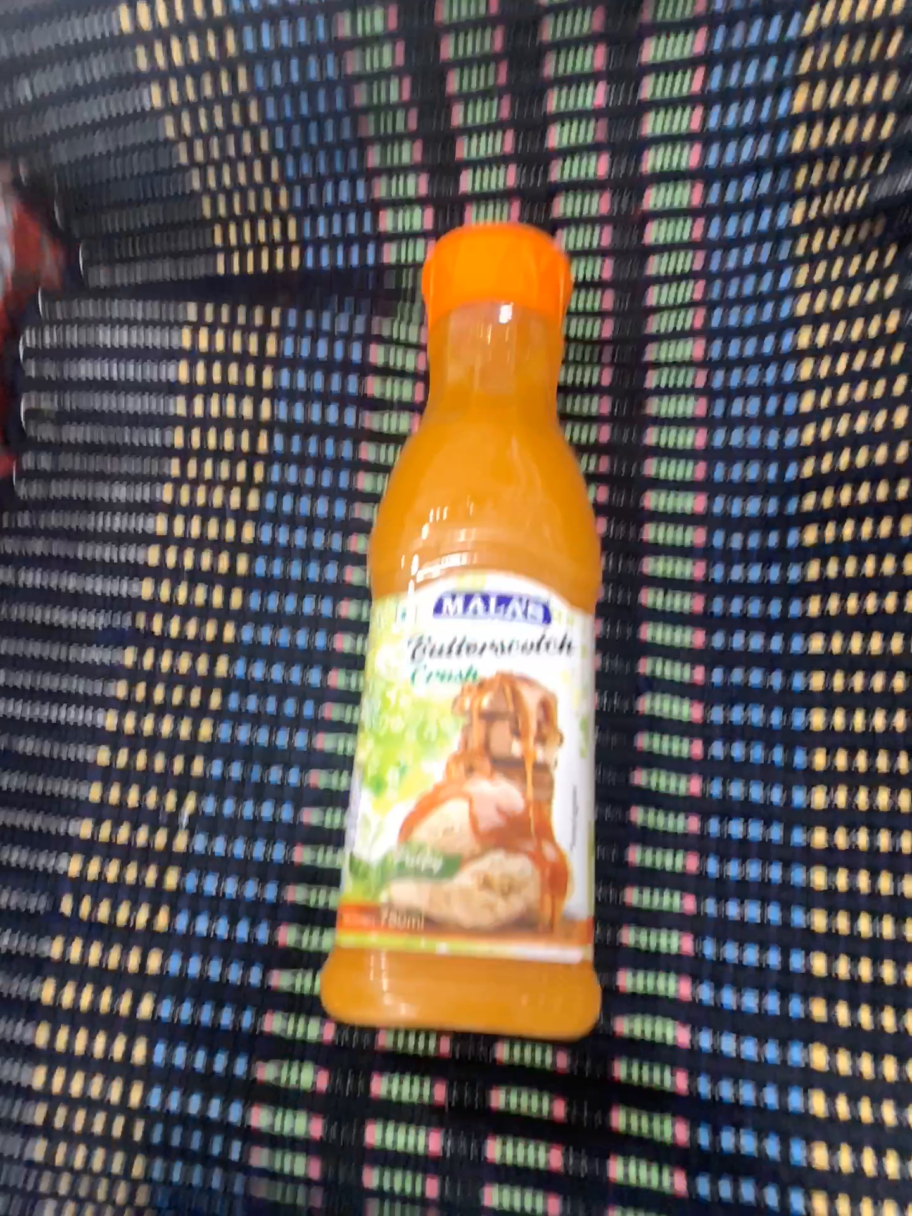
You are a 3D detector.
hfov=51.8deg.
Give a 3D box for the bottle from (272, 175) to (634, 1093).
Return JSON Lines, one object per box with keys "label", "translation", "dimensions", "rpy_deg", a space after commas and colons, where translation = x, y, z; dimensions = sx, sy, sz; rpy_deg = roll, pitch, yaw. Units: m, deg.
{"label": "bottle", "translation": [0.009, -0.008, 0.263], "dimensions": [0.070, 0.060, 0.250], "rpy_deg": [4, 64, 3]}
